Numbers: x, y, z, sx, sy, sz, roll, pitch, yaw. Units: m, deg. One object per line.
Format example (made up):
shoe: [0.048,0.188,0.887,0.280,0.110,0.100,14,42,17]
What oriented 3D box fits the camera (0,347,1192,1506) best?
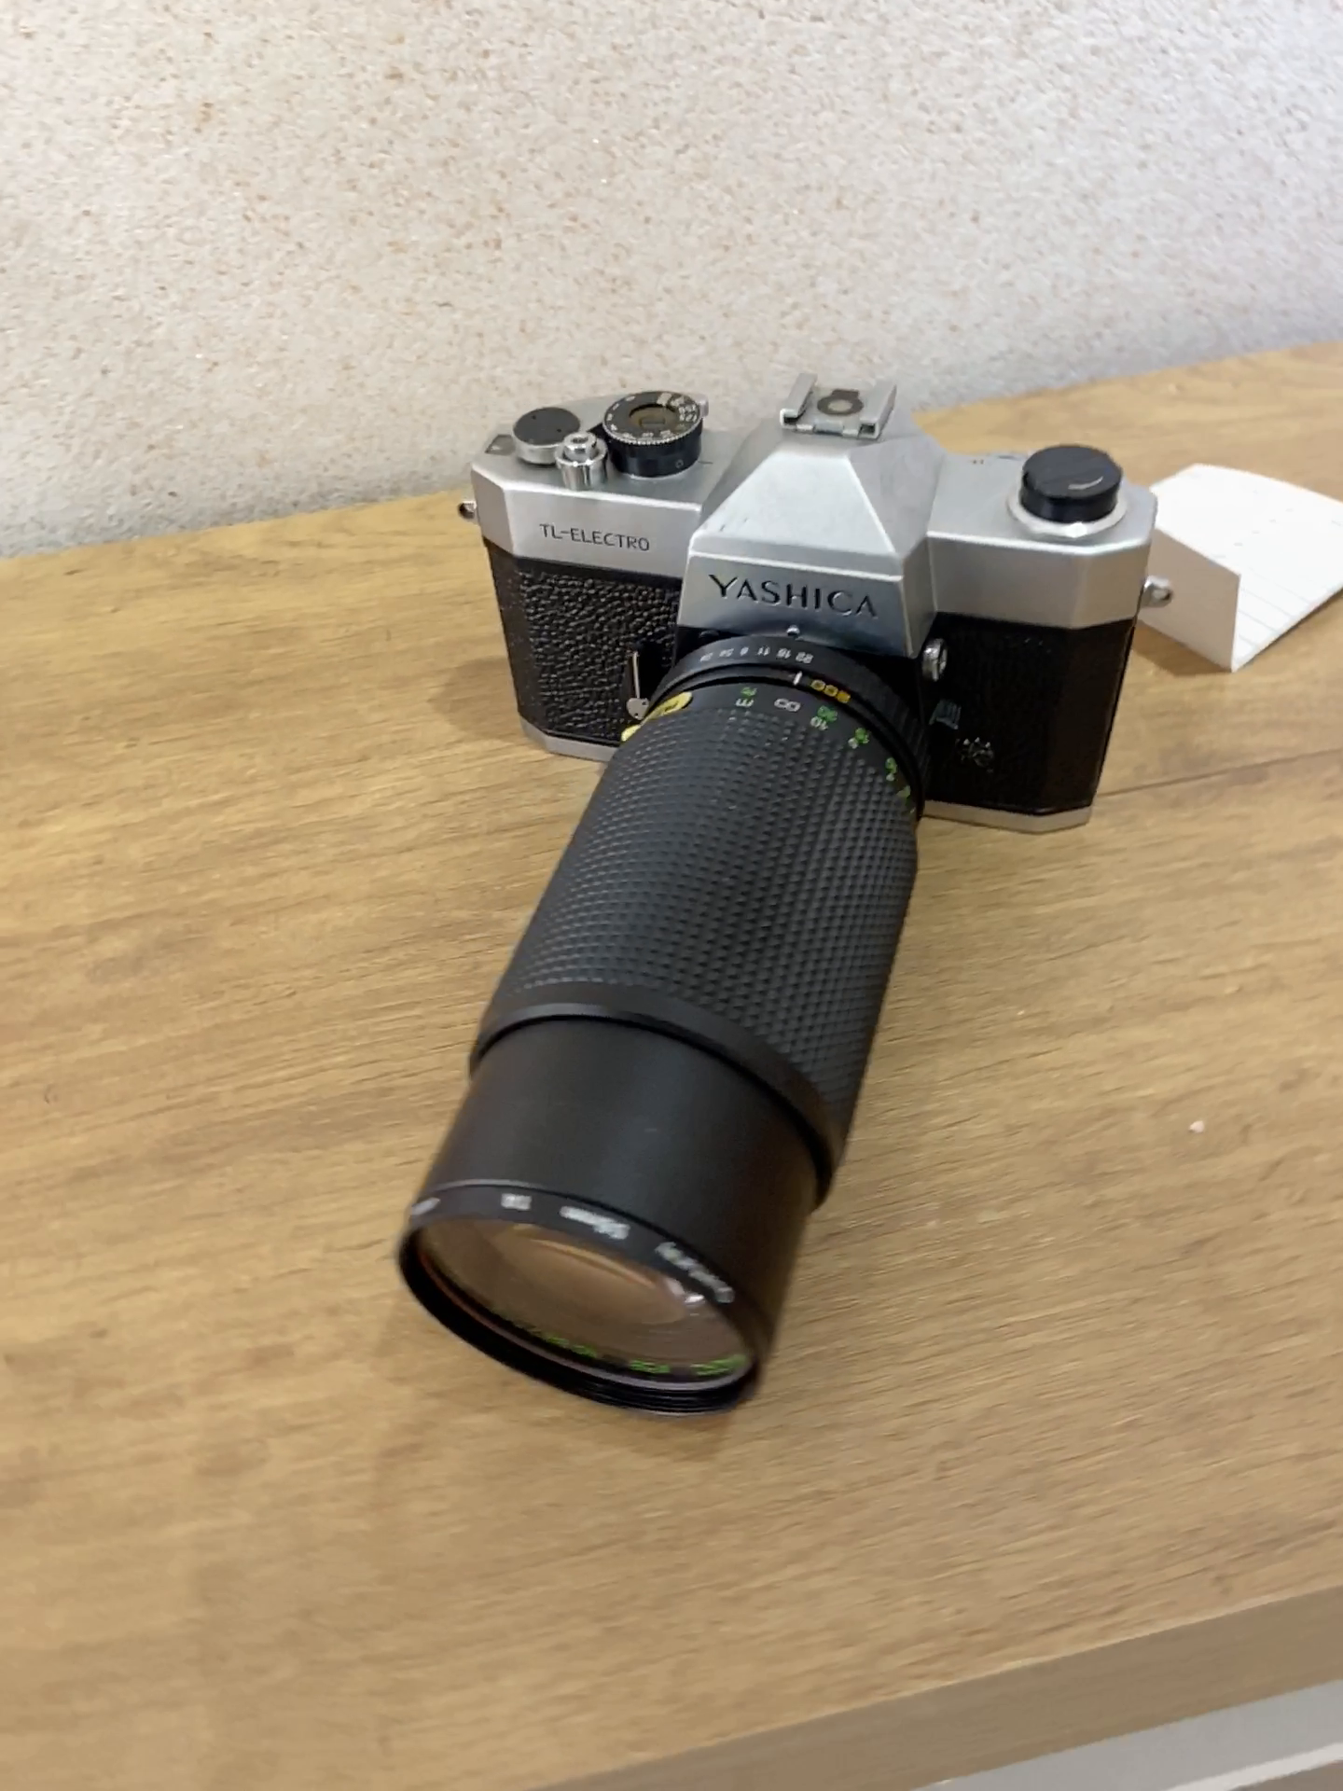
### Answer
camera: [0.004,-0.017,0.278,0.150,0.080,0.201,13,50,18]
